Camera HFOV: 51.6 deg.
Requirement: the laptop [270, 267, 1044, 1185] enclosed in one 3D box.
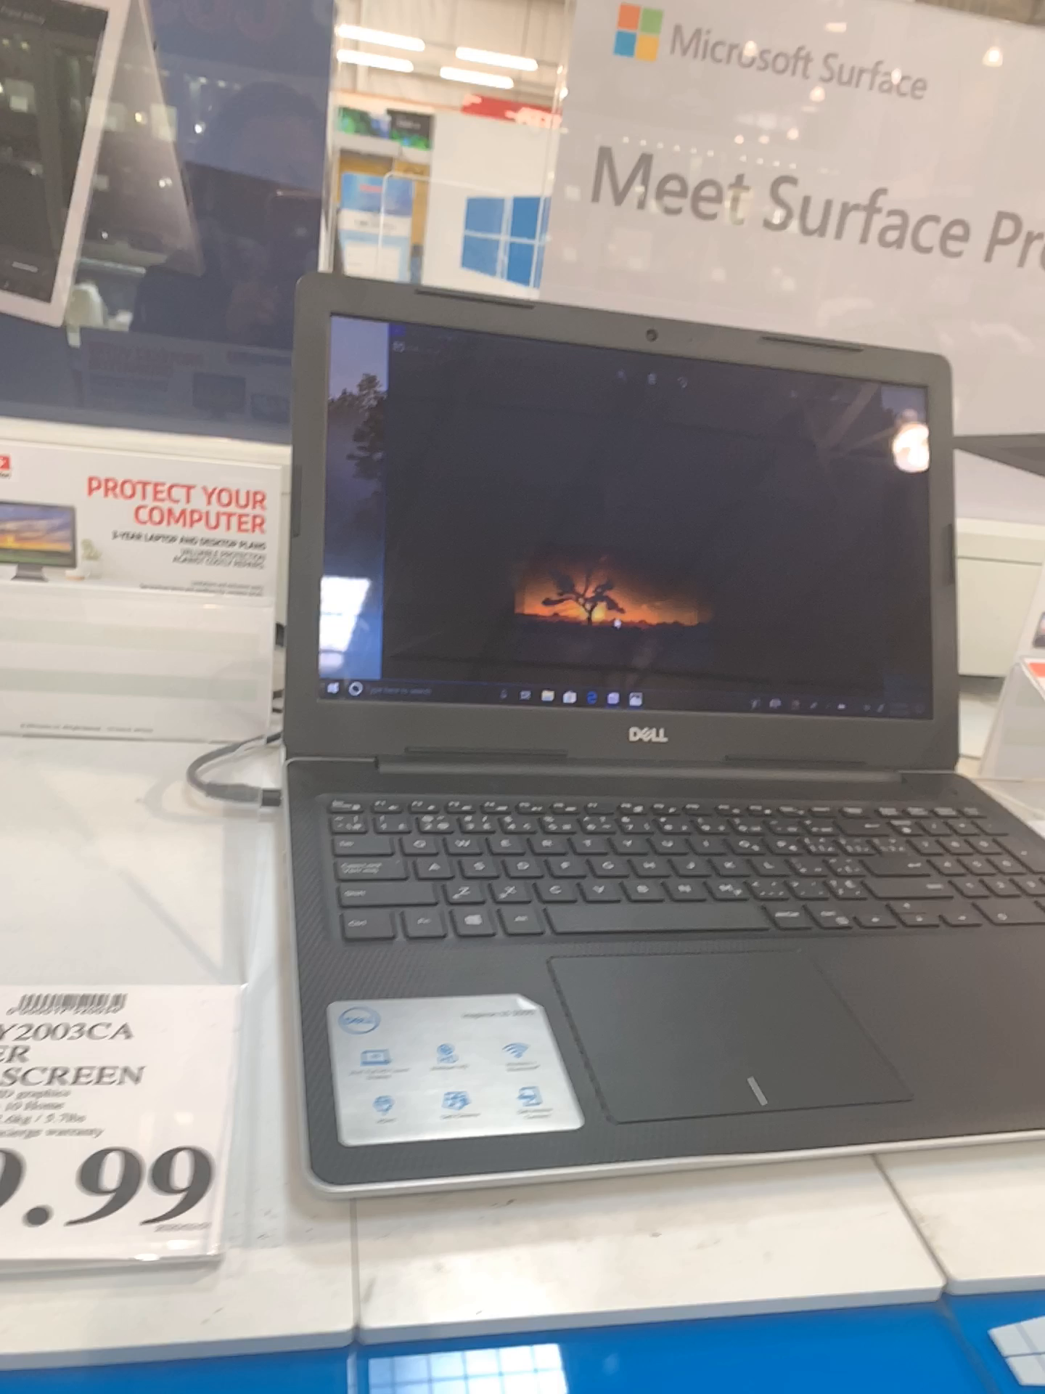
[{"bbox_3d":[0.091,-0.030,0.439,0.357,0.205,0.343,3,22,-16],"label":"laptop"}]
